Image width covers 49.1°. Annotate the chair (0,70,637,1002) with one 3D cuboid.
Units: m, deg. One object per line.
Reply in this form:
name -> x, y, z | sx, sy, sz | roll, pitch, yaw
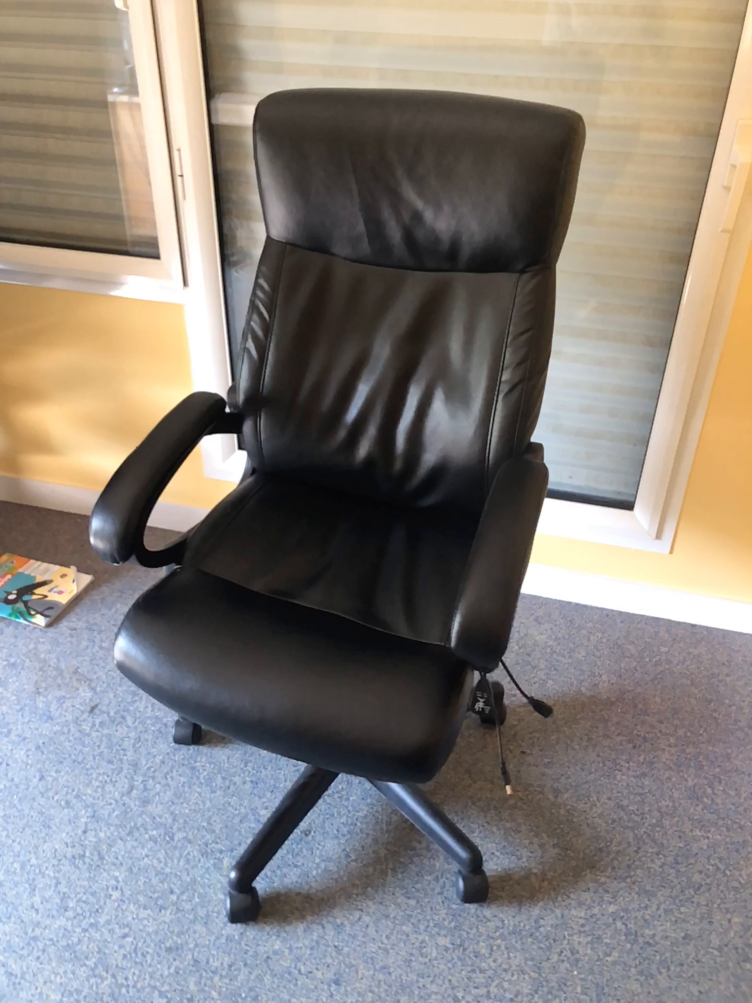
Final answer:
chair -> -0.060, 0.013, 1.280 | 0.660, 1.113, 0.755 | 11, 35, 14
